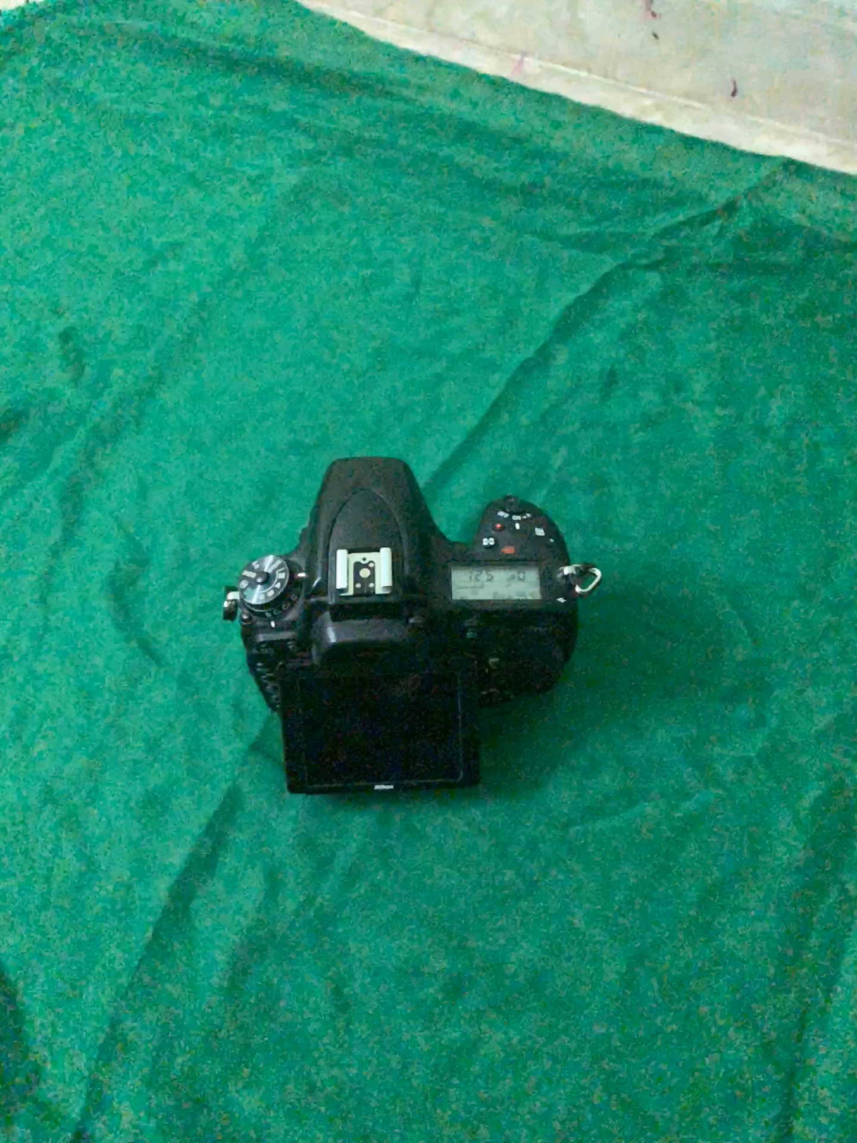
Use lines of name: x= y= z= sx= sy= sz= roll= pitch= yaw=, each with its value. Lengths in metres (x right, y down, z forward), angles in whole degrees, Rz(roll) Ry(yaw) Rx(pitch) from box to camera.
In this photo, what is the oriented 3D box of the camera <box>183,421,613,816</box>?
camera: x=-0.007 y=0.021 z=0.365 sx=0.142 sy=0.100 sz=0.129 roll=1 pitch=60 yaw=3
